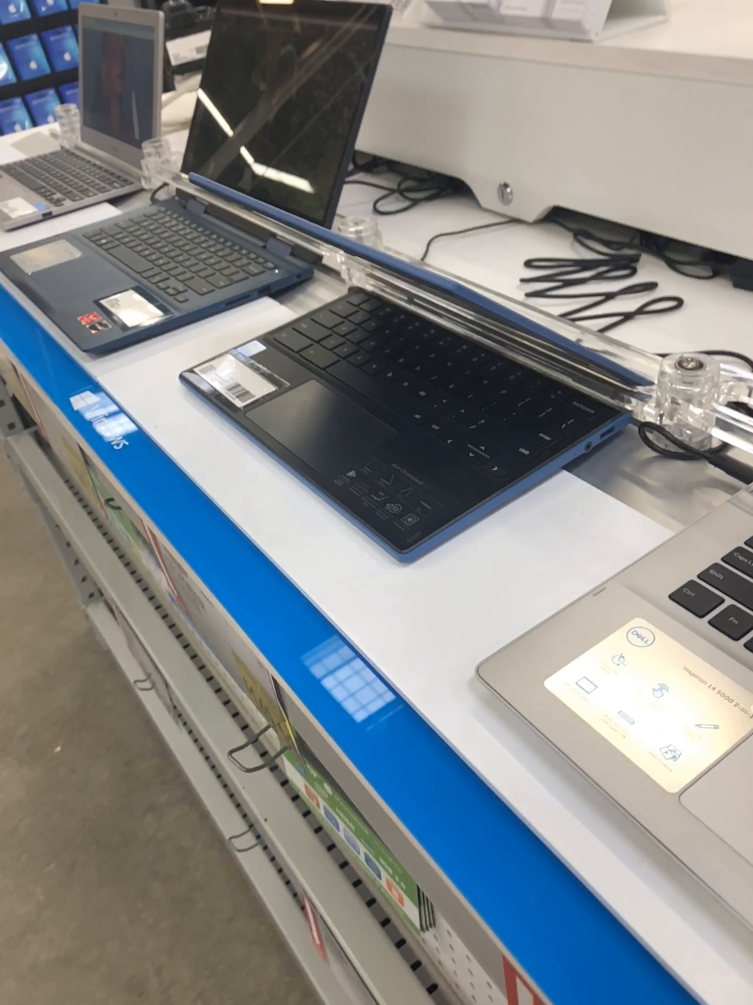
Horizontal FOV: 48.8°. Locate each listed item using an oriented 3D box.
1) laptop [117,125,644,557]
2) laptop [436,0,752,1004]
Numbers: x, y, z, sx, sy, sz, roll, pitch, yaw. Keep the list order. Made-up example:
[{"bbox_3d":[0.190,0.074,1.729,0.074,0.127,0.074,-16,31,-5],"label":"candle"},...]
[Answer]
[{"bbox_3d":[-0.008,-0.127,0.532,0.184,0.128,0.281,-30,43,-23],"label":"laptop"},{"bbox_3d":[0.226,0.022,0.218,0.246,0.216,0.356,-29,41,-21],"label":"laptop"}]
